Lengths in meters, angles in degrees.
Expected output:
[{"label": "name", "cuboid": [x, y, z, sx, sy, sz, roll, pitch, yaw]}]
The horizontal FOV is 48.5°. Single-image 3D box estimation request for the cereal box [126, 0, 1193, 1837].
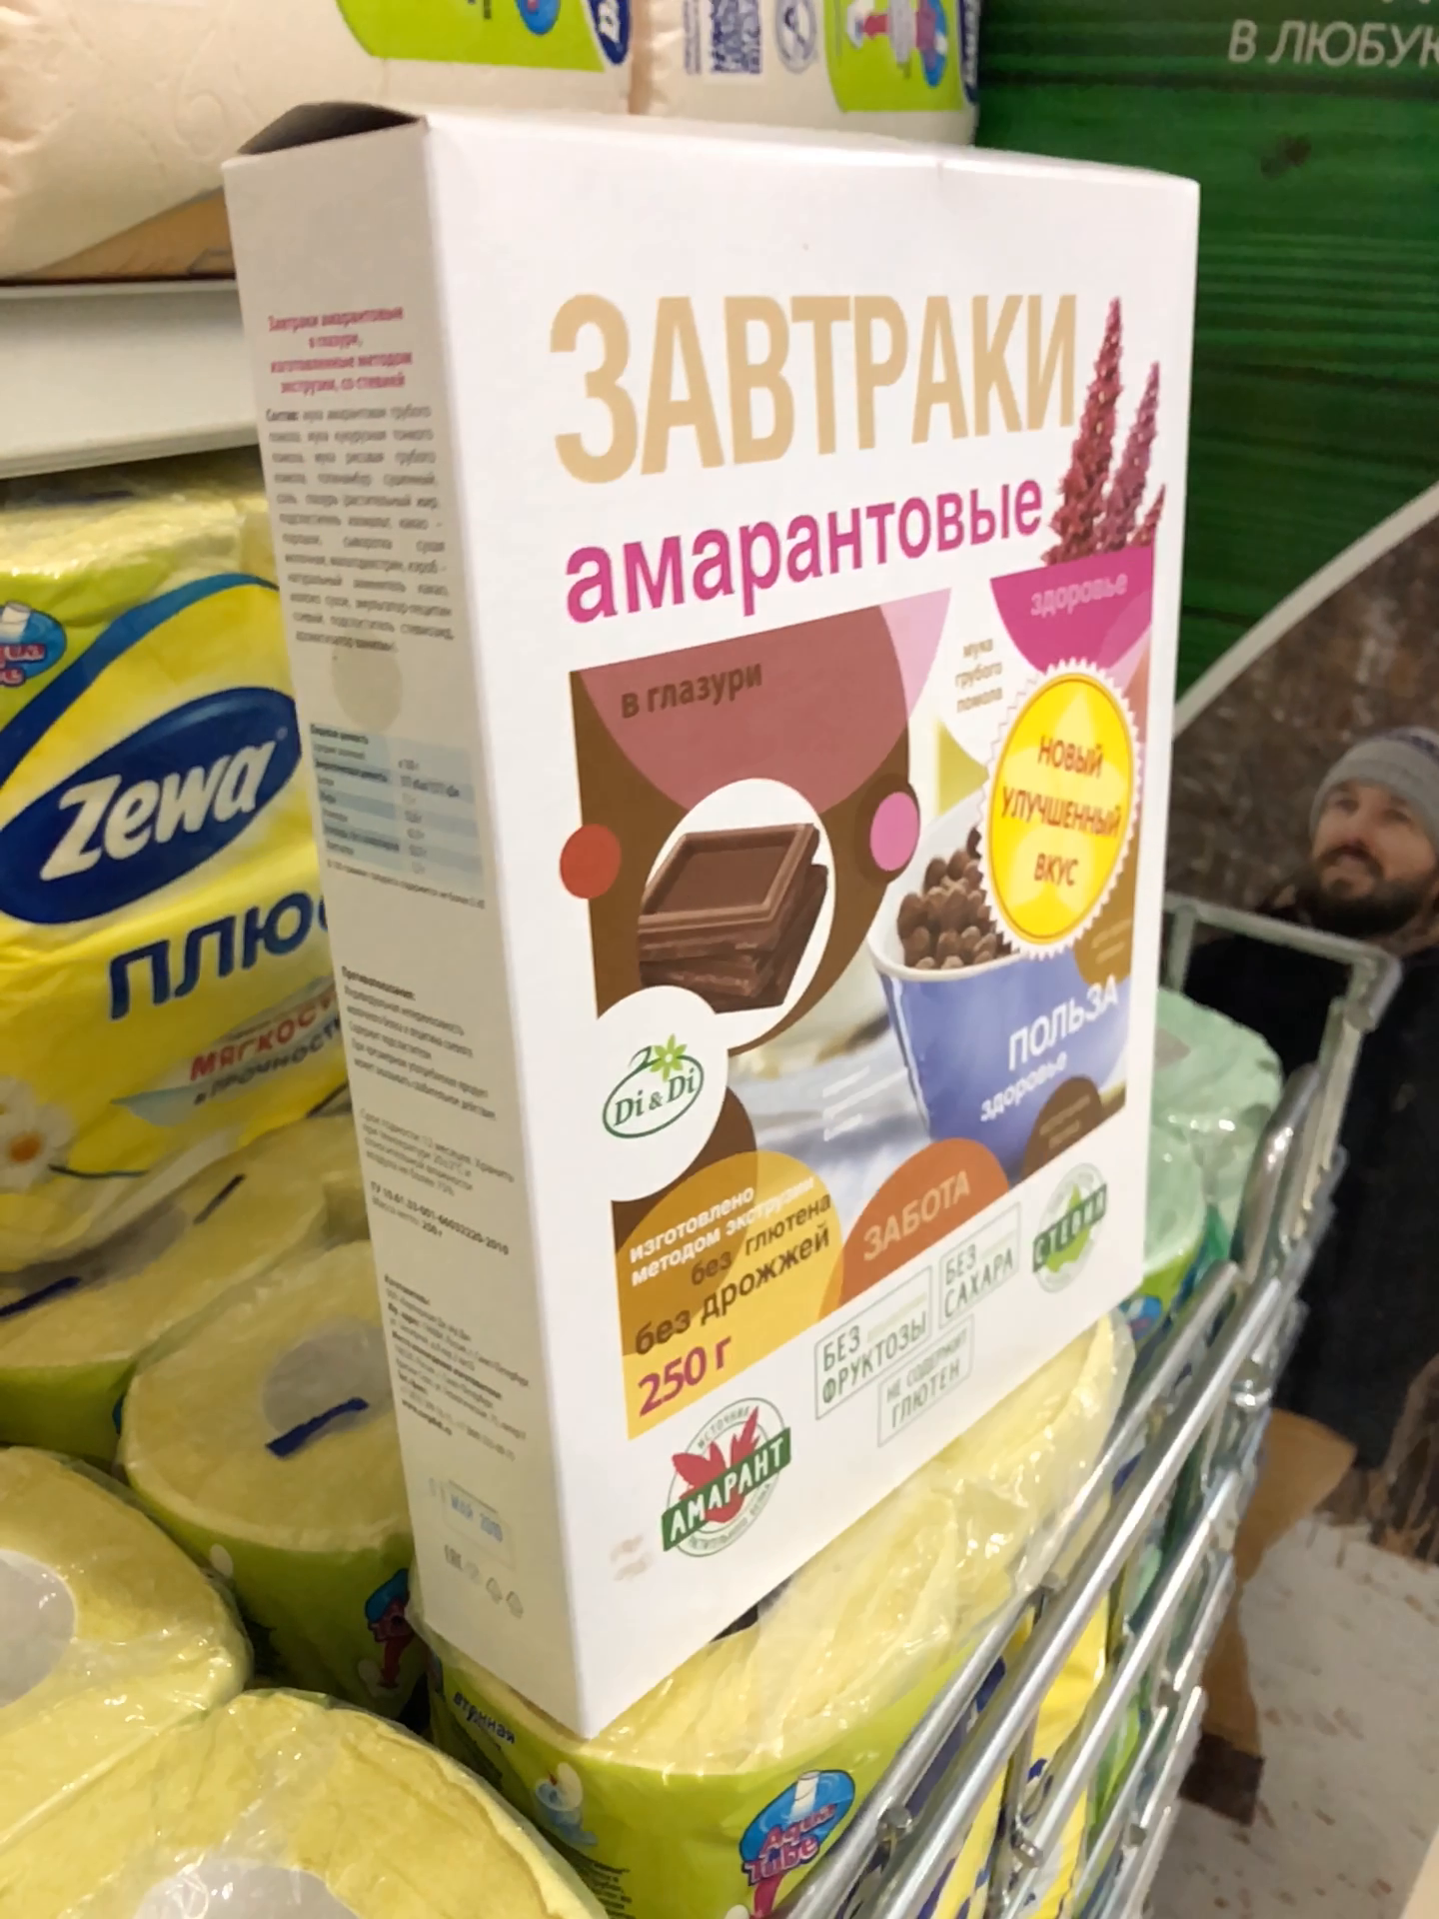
[{"label": "cereal box", "cuboid": [0.015, -0.014, 0.299, 0.050, 0.269, 0.191, 15, 27, 41]}]
